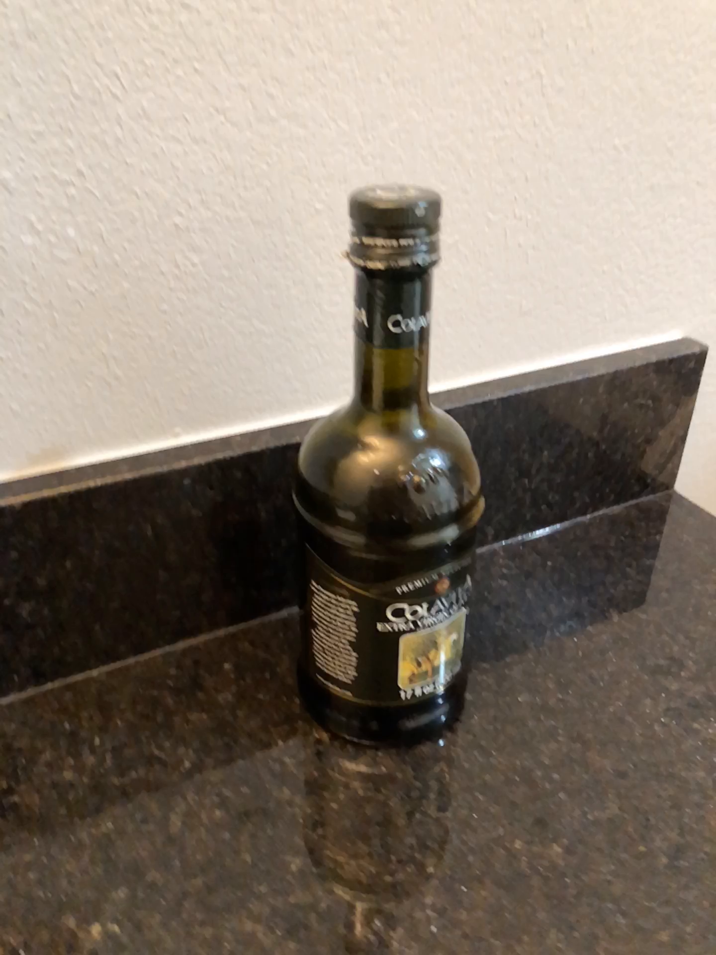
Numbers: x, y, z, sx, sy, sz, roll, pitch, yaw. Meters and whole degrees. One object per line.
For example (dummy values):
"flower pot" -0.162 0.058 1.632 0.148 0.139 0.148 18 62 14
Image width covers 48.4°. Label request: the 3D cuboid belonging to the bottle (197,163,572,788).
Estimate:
"bottle" 0.004 0.000 0.321 0.090 0.219 0.090 1 31 0
